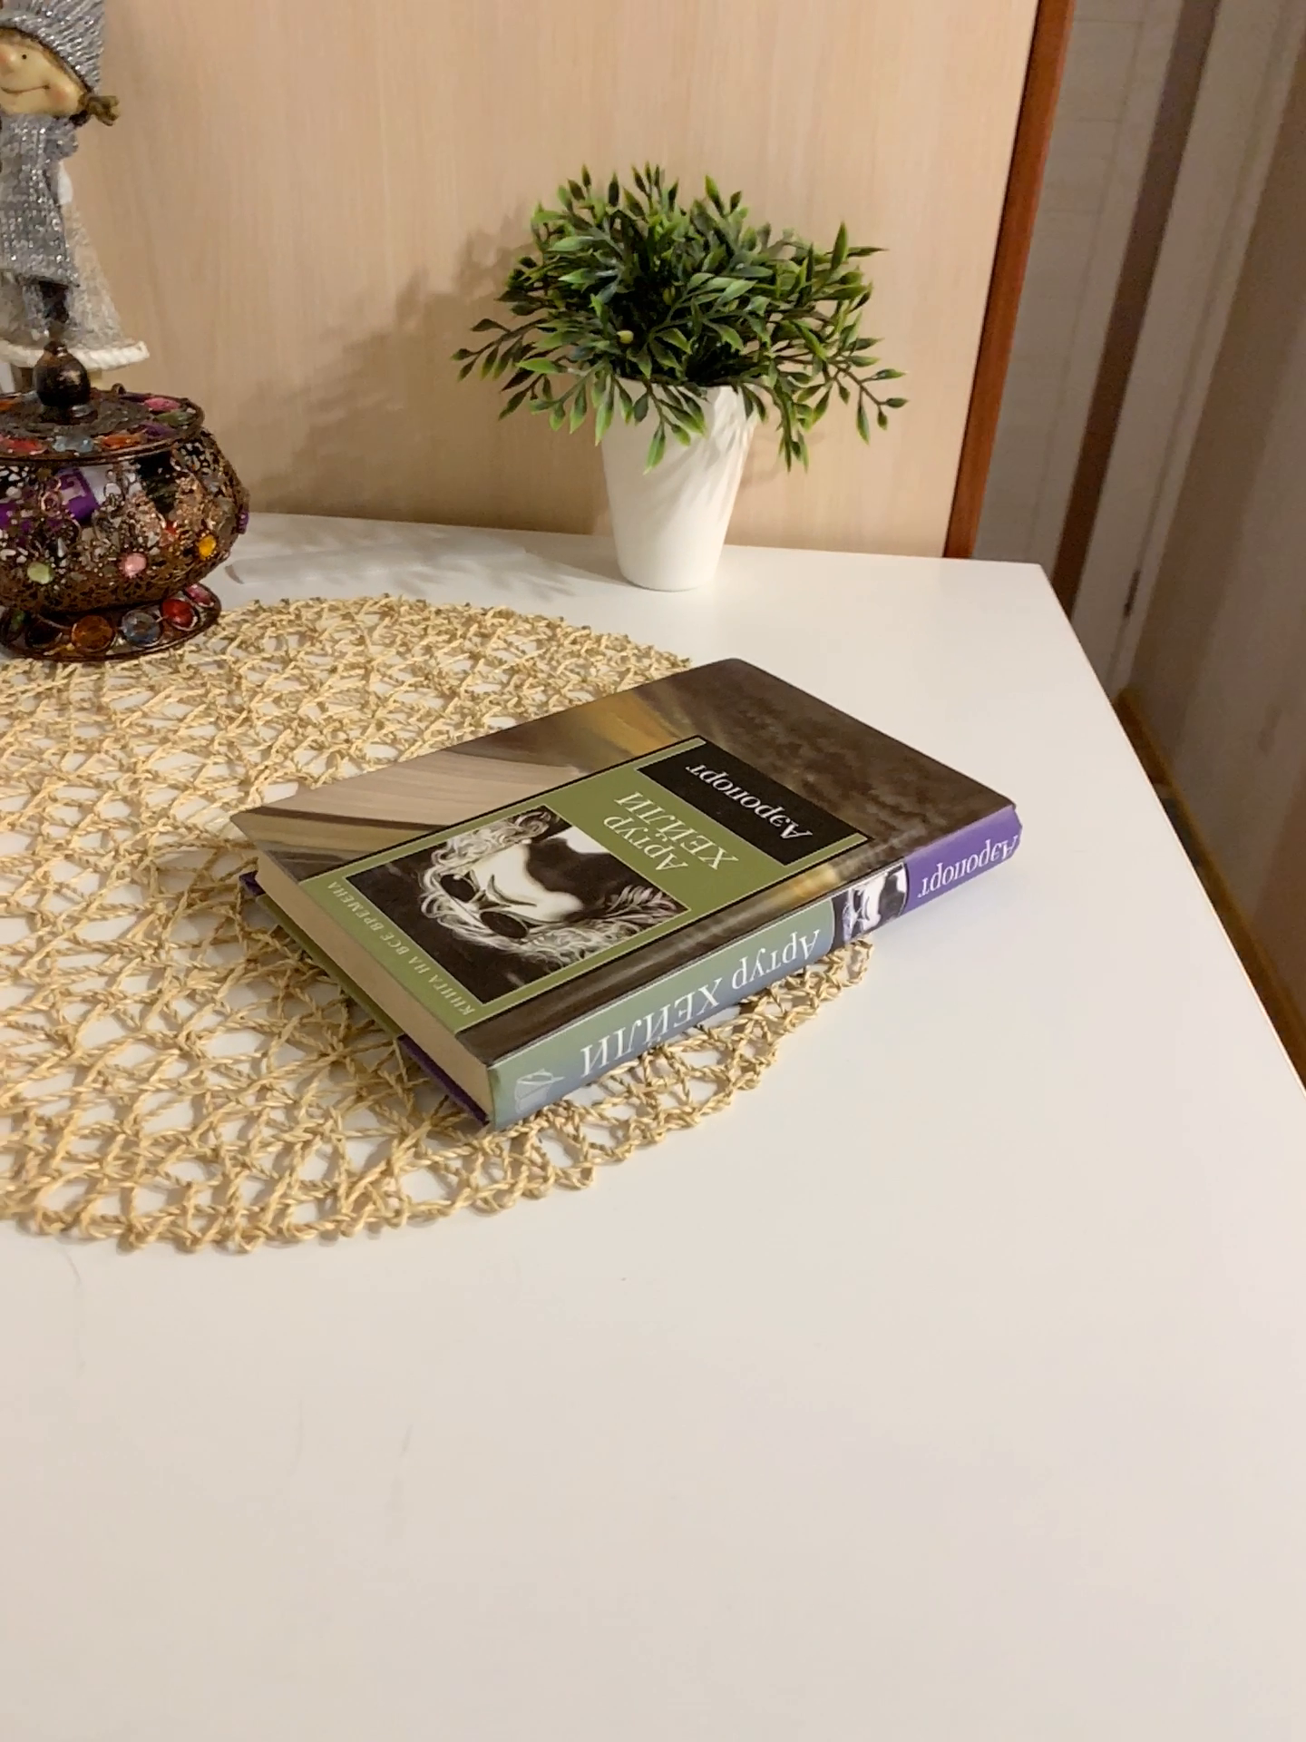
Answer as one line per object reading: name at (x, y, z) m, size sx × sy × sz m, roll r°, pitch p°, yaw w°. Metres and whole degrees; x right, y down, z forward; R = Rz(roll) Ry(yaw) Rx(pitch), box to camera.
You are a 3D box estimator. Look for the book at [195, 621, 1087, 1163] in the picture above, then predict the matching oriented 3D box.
book at (0.002, -0.015, 0.415) m, size 0.231 × 0.020 × 0.151 m, roll -24°, pitch 43°, yaw -34°
